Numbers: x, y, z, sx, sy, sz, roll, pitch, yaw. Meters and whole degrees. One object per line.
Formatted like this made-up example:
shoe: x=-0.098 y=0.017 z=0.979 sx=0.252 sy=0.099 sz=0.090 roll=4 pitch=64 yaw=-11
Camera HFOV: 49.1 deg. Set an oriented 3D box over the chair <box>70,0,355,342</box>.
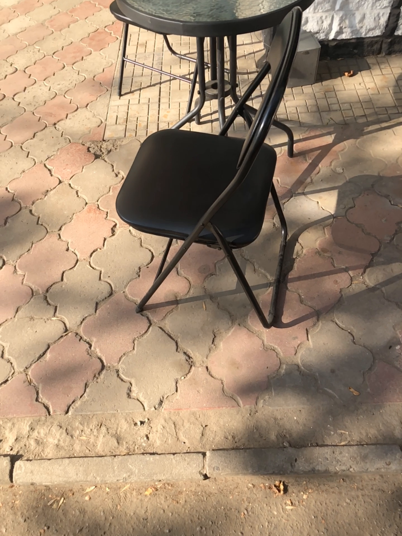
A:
chair: x=0.086 y=-0.295 z=1.372 sx=0.570 sy=0.837 sz=0.582 roll=9 pitch=49 yaw=11
